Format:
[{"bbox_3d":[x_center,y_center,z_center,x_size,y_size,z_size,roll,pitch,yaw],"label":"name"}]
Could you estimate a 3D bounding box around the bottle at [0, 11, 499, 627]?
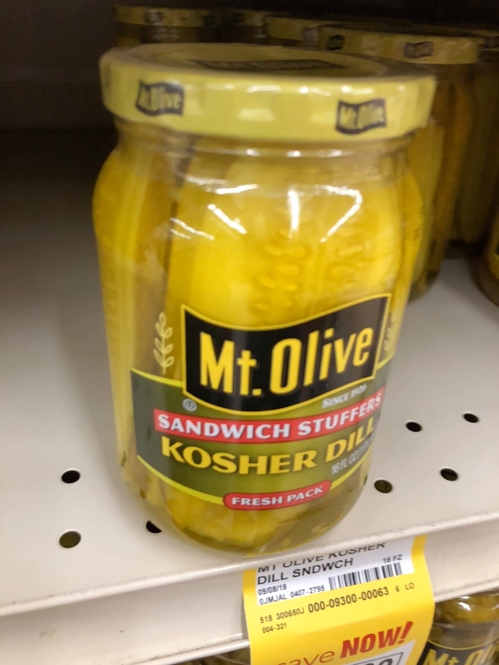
[{"bbox_3d":[-0.007,-0.005,0.148,0.090,0.130,0.080,-3,33,-12],"label":"bottle"}]
